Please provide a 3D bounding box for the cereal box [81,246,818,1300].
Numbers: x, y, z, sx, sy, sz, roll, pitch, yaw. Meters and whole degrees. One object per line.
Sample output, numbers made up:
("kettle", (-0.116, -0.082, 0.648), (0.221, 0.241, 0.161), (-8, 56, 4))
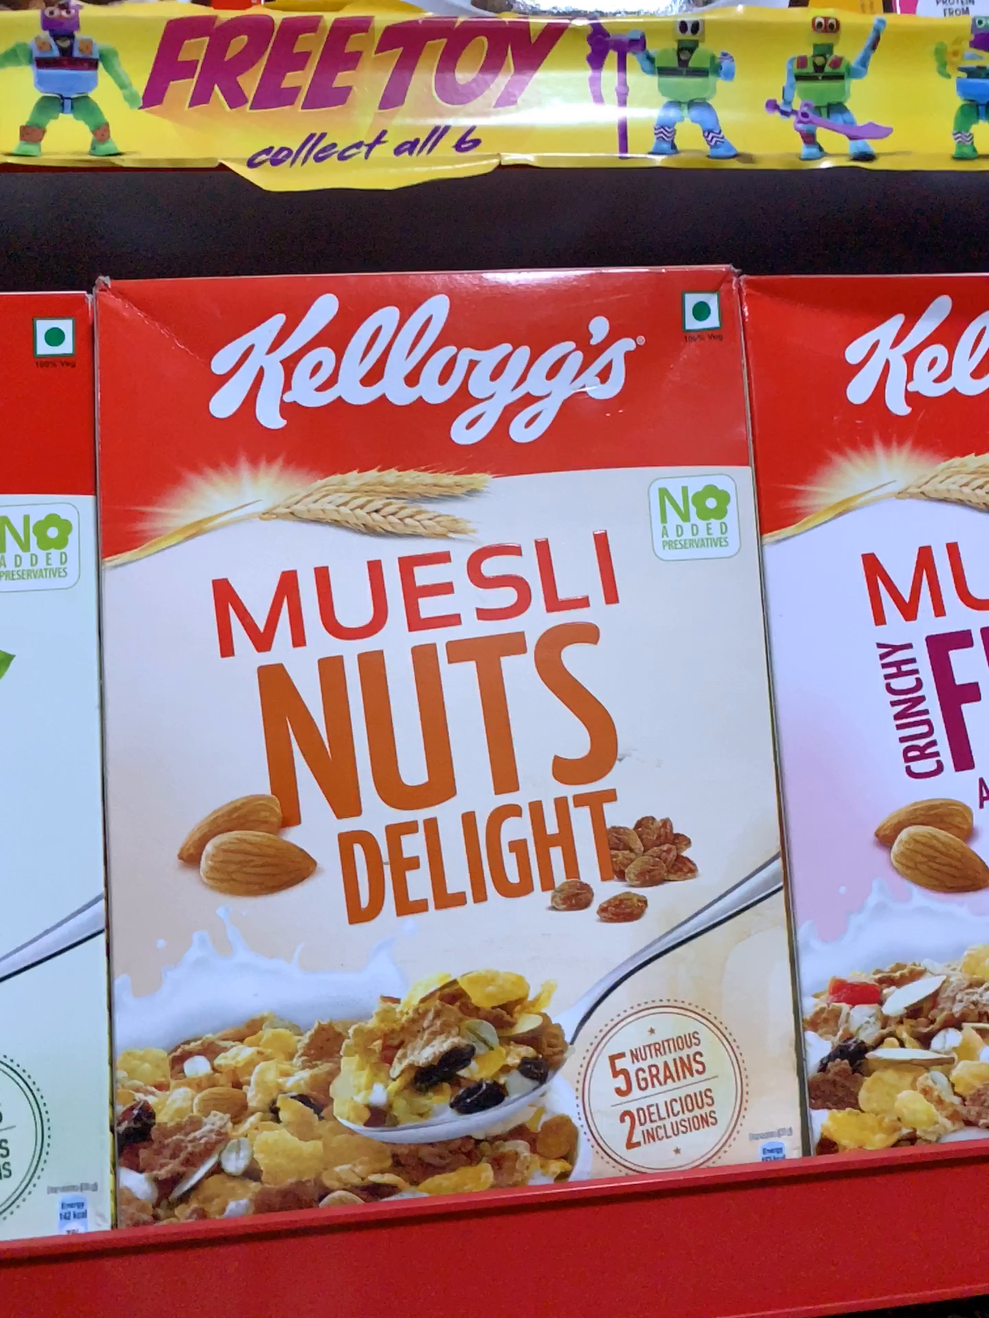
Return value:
("cereal box", (-0.015, 0.020, 0.286), (0.170, 0.251, 0.060), (-3, -6, -6))
